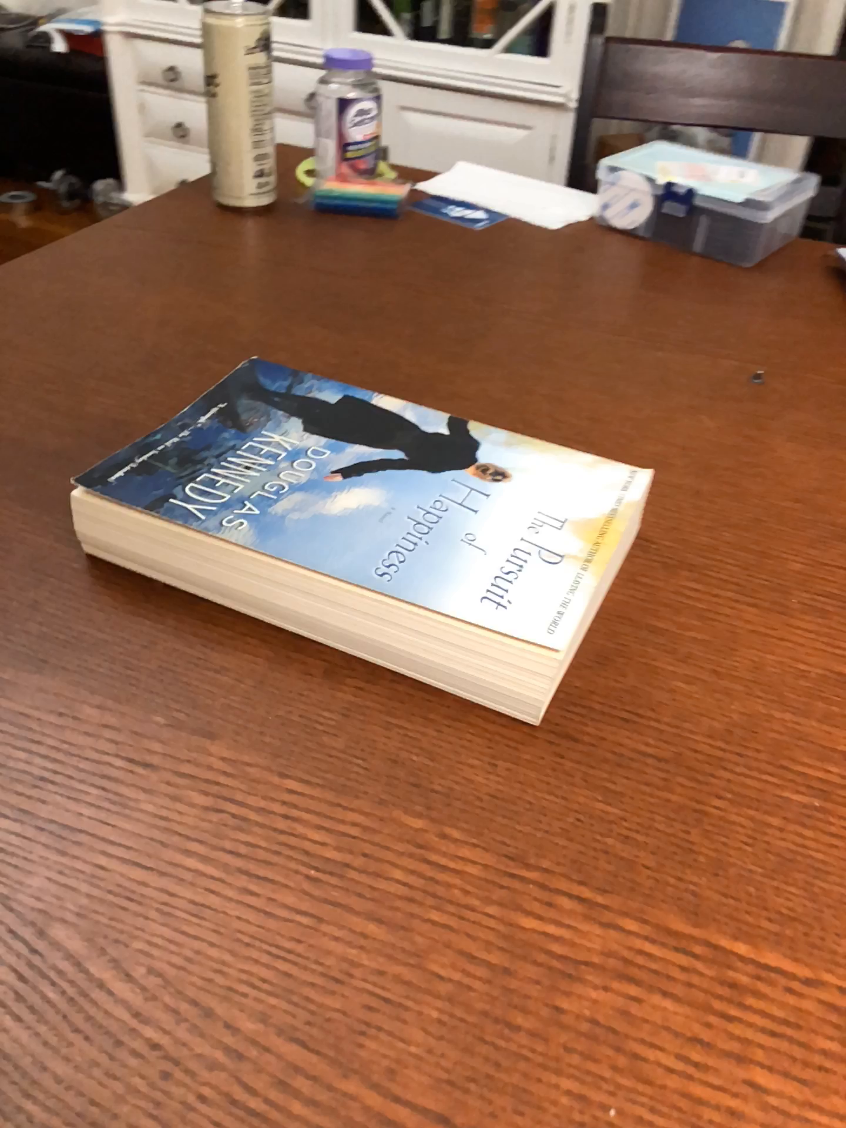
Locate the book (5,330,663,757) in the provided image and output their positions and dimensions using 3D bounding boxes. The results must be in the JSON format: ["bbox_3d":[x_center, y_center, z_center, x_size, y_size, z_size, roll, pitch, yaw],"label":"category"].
[{"bbox_3d":[-0.032,-0.028,0.425,0.240,0.050,0.161,18,40,17],"label":"book"}]
